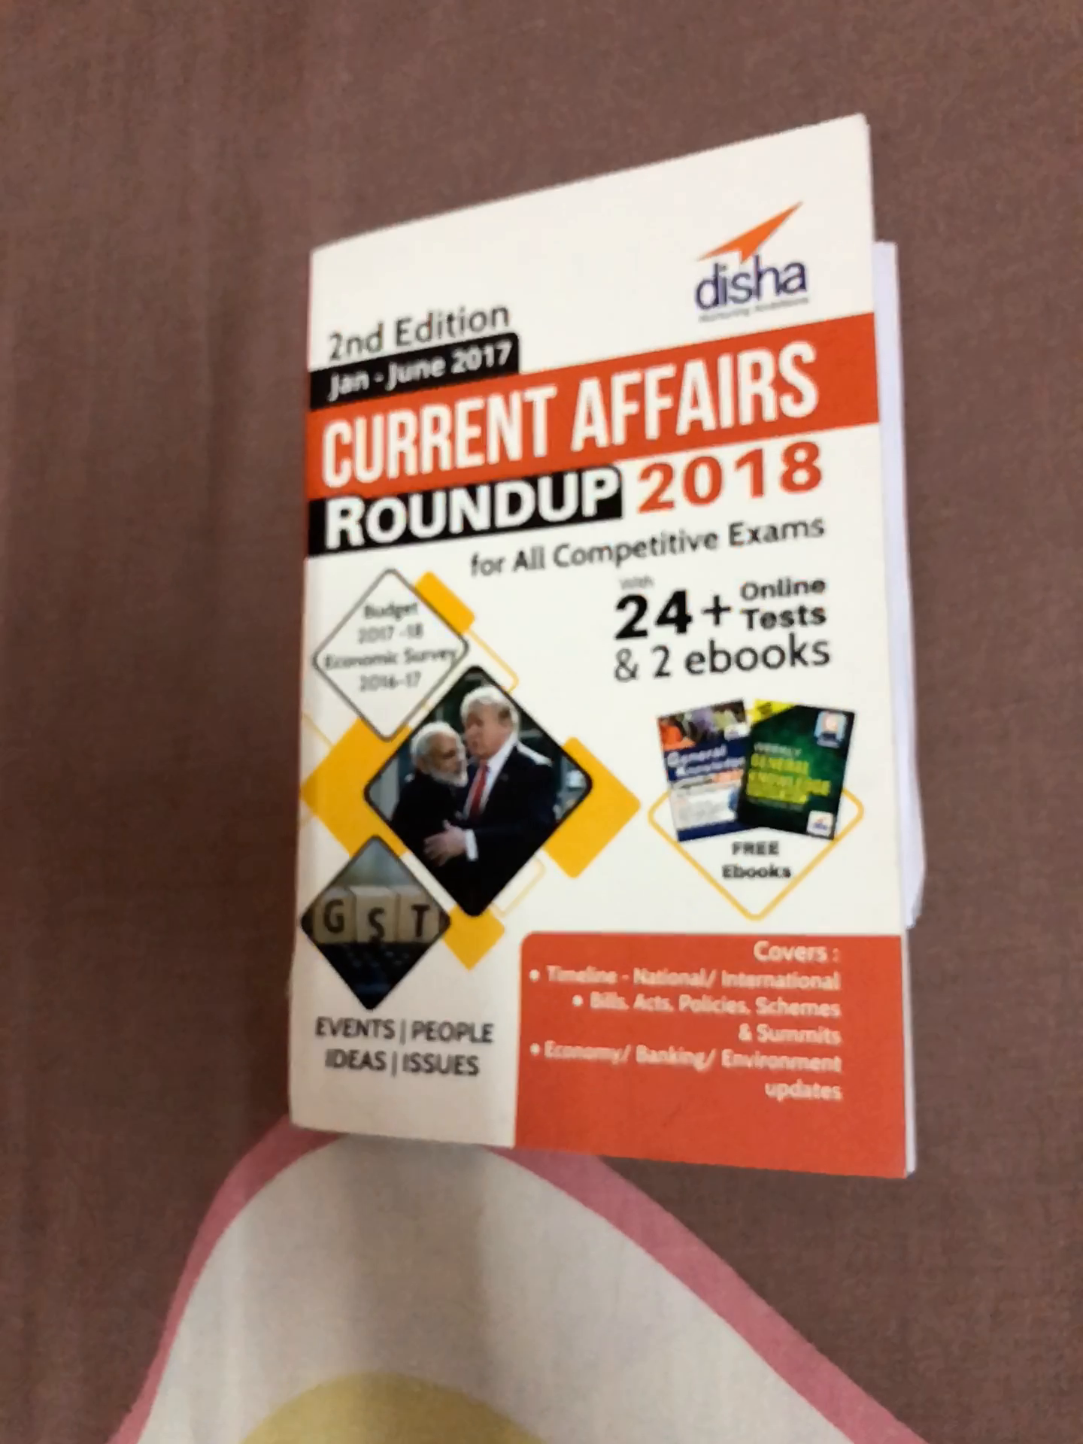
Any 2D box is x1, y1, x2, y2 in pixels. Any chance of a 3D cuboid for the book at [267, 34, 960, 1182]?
[{"bbox_3d":[0.013,-0.022,0.274,0.140,0.040,0.220,-3,81,23],"label":"book"}]
